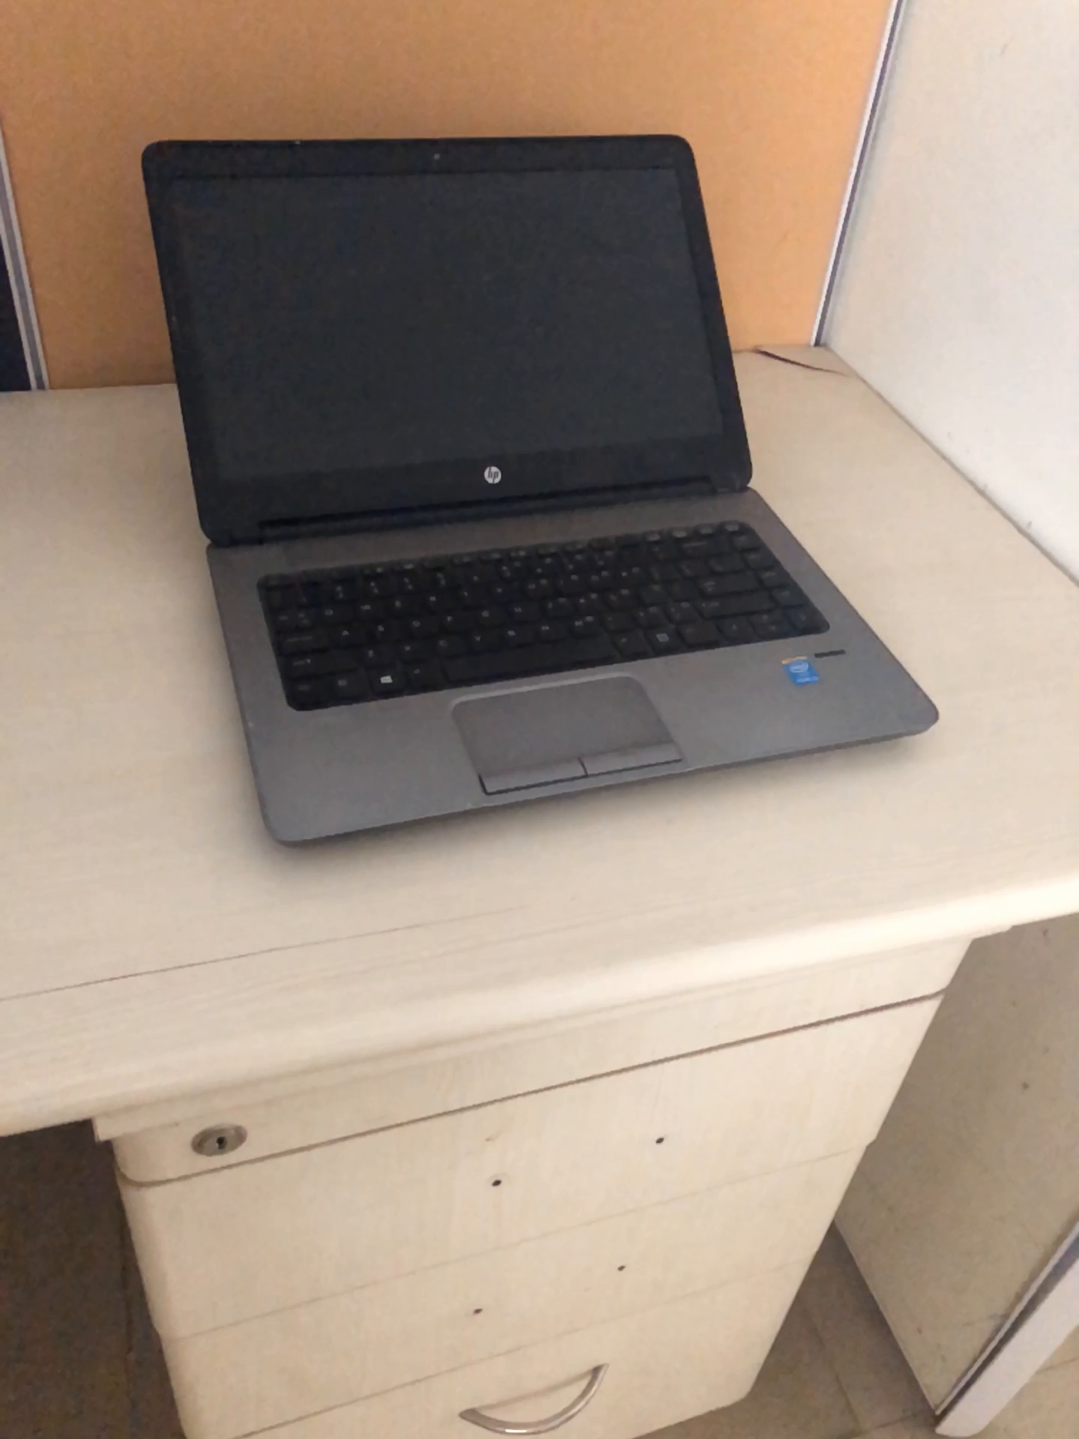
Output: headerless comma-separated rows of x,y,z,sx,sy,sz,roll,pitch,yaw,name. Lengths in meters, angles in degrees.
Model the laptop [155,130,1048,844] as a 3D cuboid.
-0.006,-0.160,0.631,0.324,0.167,0.373,-9,45,-18,laptop
